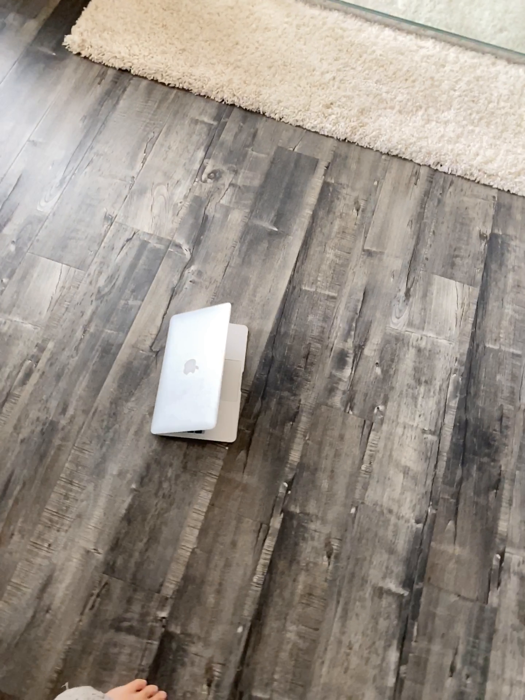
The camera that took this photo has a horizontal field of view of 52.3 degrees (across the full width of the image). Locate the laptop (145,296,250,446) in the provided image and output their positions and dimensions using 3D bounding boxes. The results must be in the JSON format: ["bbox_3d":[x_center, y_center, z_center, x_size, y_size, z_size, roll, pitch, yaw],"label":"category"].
[{"bbox_3d":[-0.127,0.044,1.106,0.172,0.113,0.270,6,67,-1],"label":"laptop"}]
